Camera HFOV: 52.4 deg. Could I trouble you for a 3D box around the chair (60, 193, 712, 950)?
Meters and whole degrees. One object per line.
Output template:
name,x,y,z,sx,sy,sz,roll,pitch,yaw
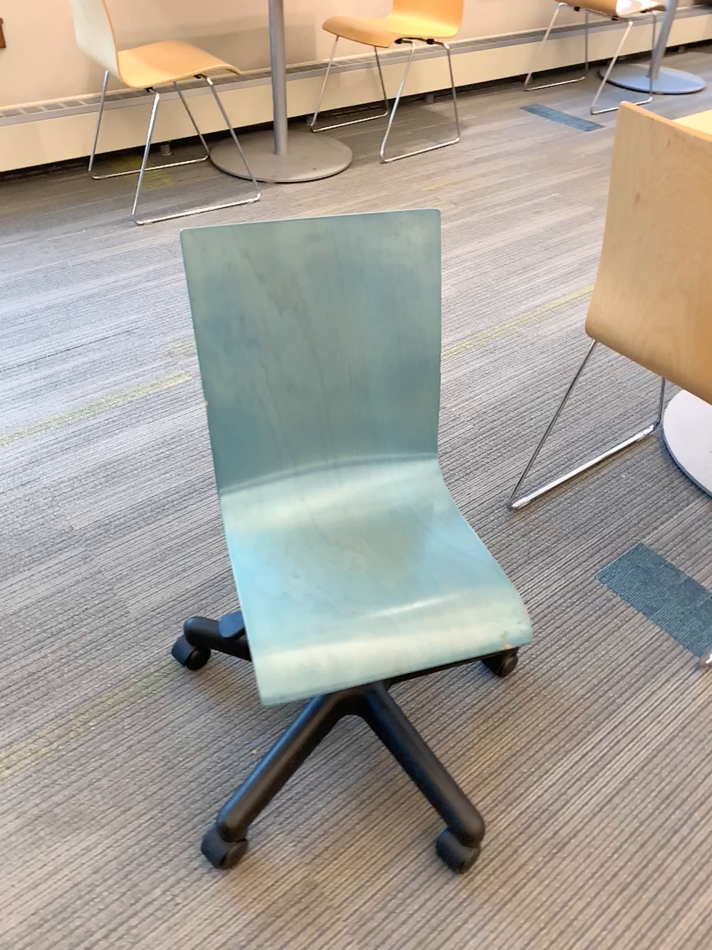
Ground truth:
chair,0.011,0.100,0.954,0.600,0.667,0.613,-11,43,-15
